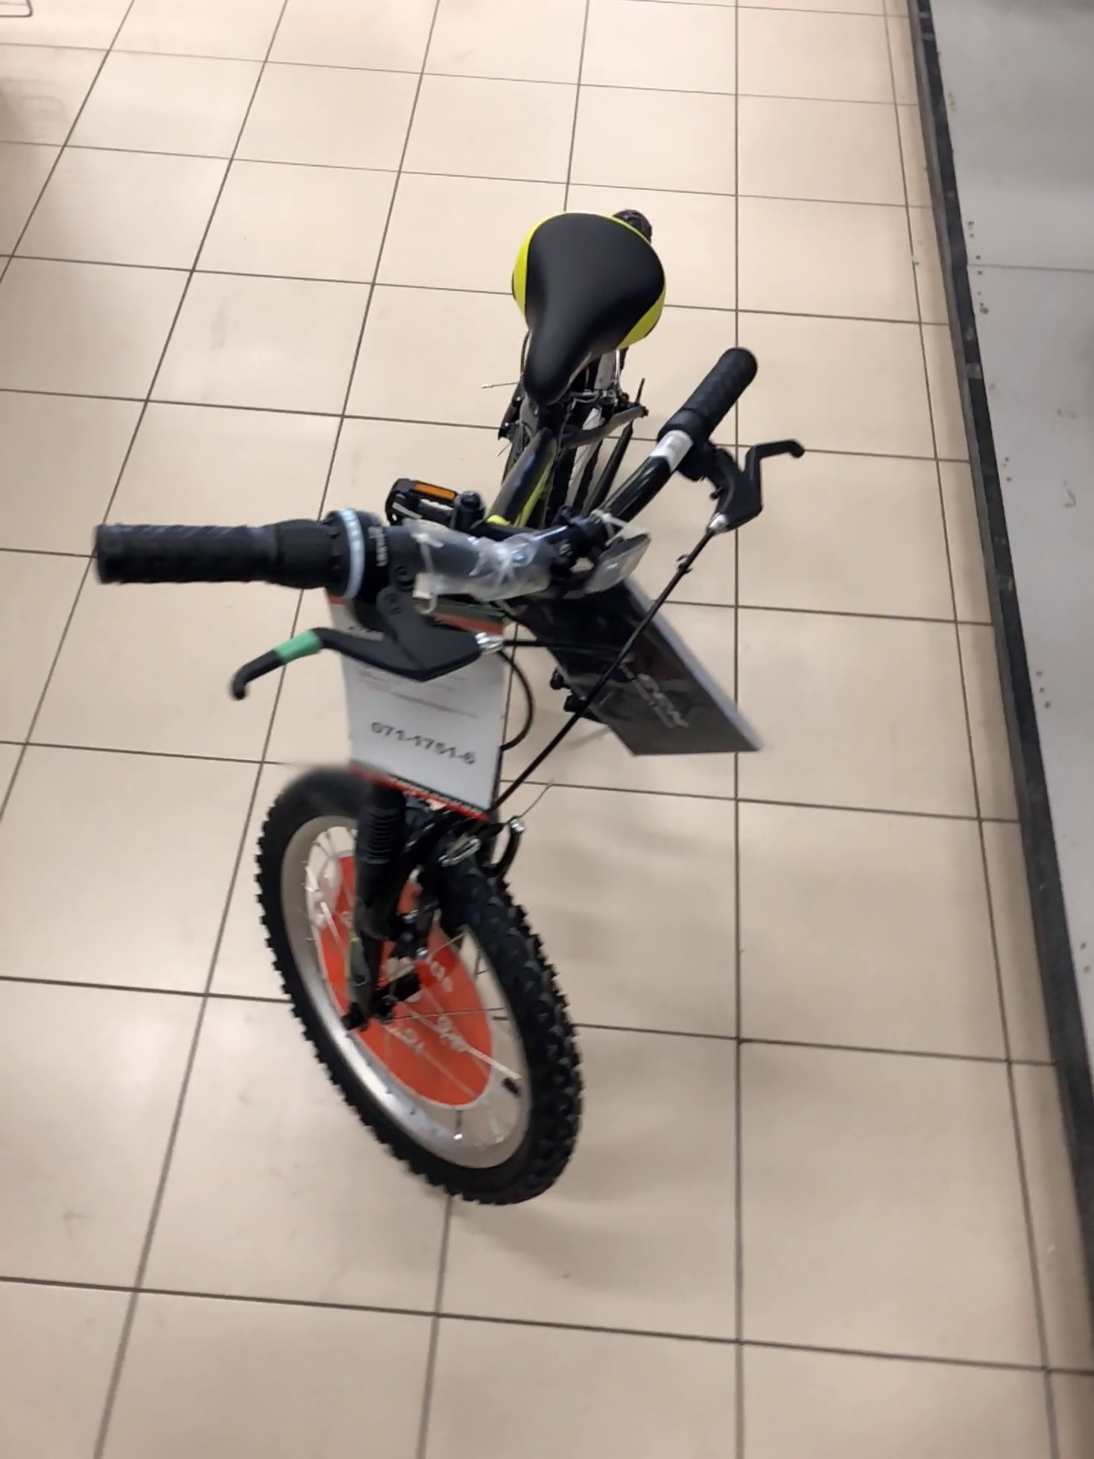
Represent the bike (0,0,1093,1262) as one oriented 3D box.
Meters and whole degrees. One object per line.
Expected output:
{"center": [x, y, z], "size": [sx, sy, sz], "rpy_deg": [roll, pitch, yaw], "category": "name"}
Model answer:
{"center": [0.040, -0.215, 1.180], "size": [0.549, 0.862, 1.199], "rpy_deg": [6, 59, 2], "category": "bike"}
